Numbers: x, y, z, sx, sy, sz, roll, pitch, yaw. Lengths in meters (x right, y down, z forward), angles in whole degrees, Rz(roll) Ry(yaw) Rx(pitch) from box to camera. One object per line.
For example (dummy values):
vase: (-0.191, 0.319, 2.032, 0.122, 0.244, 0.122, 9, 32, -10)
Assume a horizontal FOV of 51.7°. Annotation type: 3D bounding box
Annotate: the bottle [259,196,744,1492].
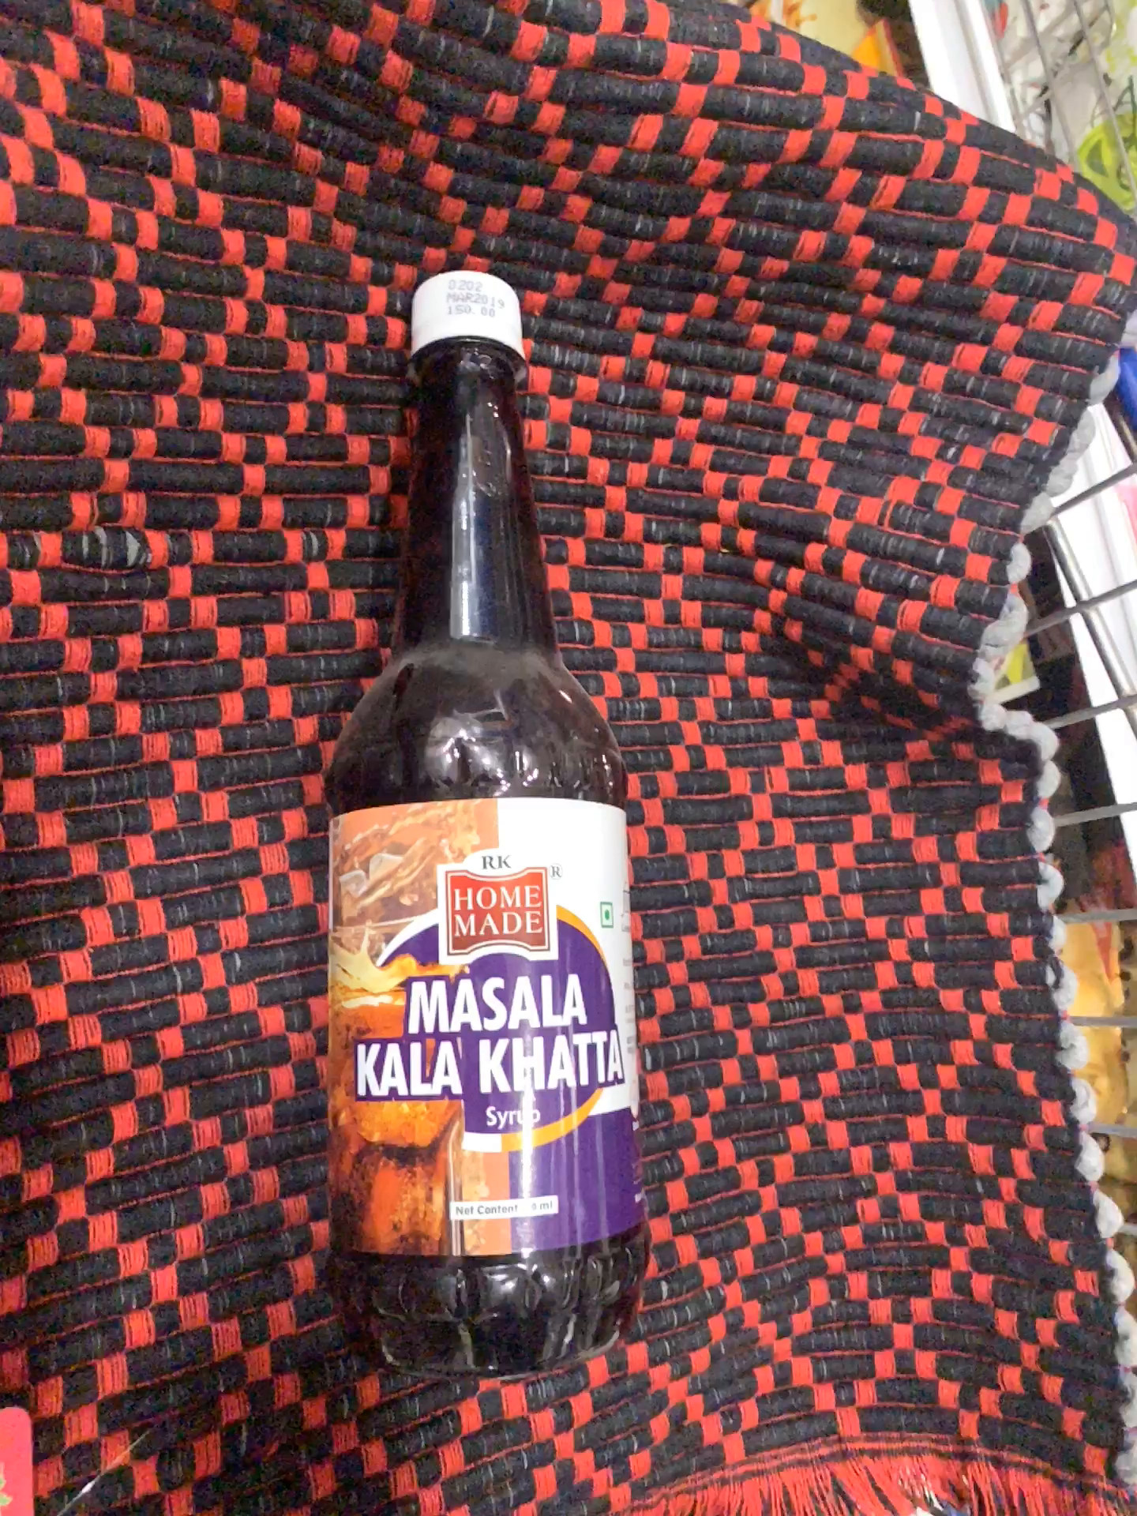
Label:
bottle: (-0.026, 0.011, 0.285, 0.080, 0.080, 0.260, 1, 77, -23)
